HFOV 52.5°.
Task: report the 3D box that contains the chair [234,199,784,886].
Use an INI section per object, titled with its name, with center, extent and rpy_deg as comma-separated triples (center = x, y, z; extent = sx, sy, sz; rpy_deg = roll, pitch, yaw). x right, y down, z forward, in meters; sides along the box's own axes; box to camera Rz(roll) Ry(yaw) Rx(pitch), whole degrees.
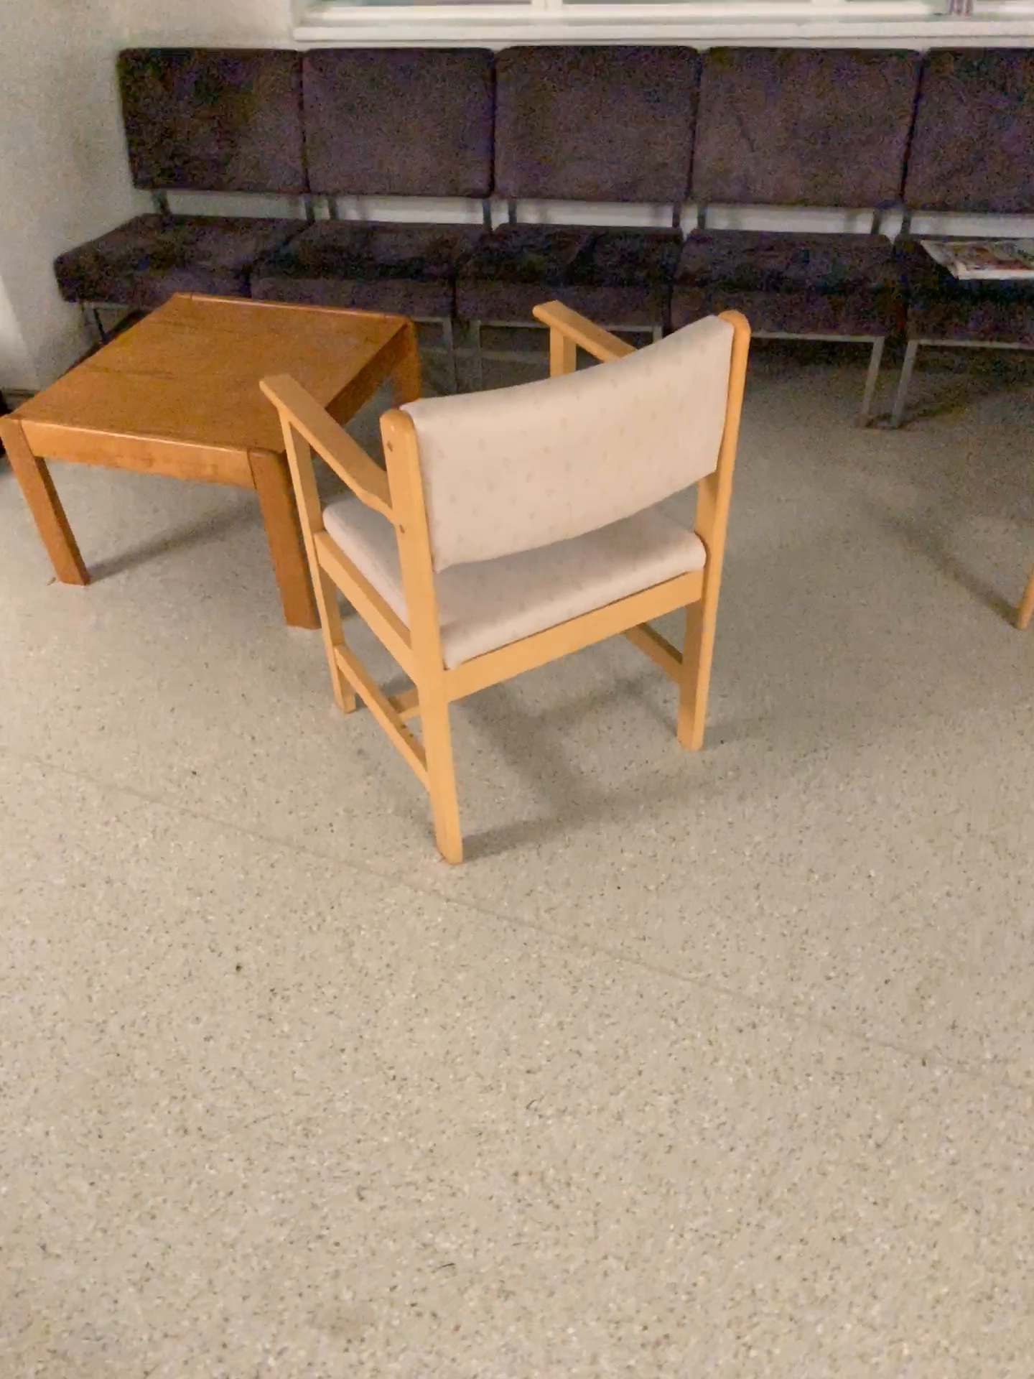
[chair]
center = -0.017, -0.228, 1.573
extent = 0.511, 0.752, 0.514
rpy_deg = -22, 44, -22
